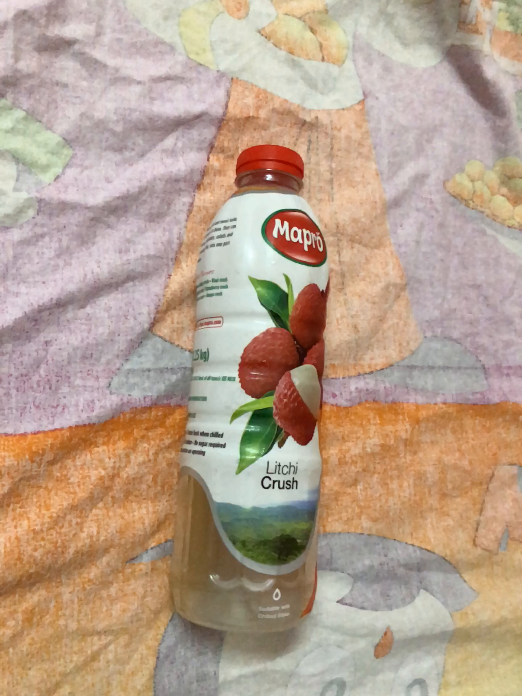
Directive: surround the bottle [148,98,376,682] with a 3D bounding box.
[{"bbox_3d":[0.001,0.017,0.305,0.080,0.070,0.260,8,81,-25],"label":"bottle"}]
